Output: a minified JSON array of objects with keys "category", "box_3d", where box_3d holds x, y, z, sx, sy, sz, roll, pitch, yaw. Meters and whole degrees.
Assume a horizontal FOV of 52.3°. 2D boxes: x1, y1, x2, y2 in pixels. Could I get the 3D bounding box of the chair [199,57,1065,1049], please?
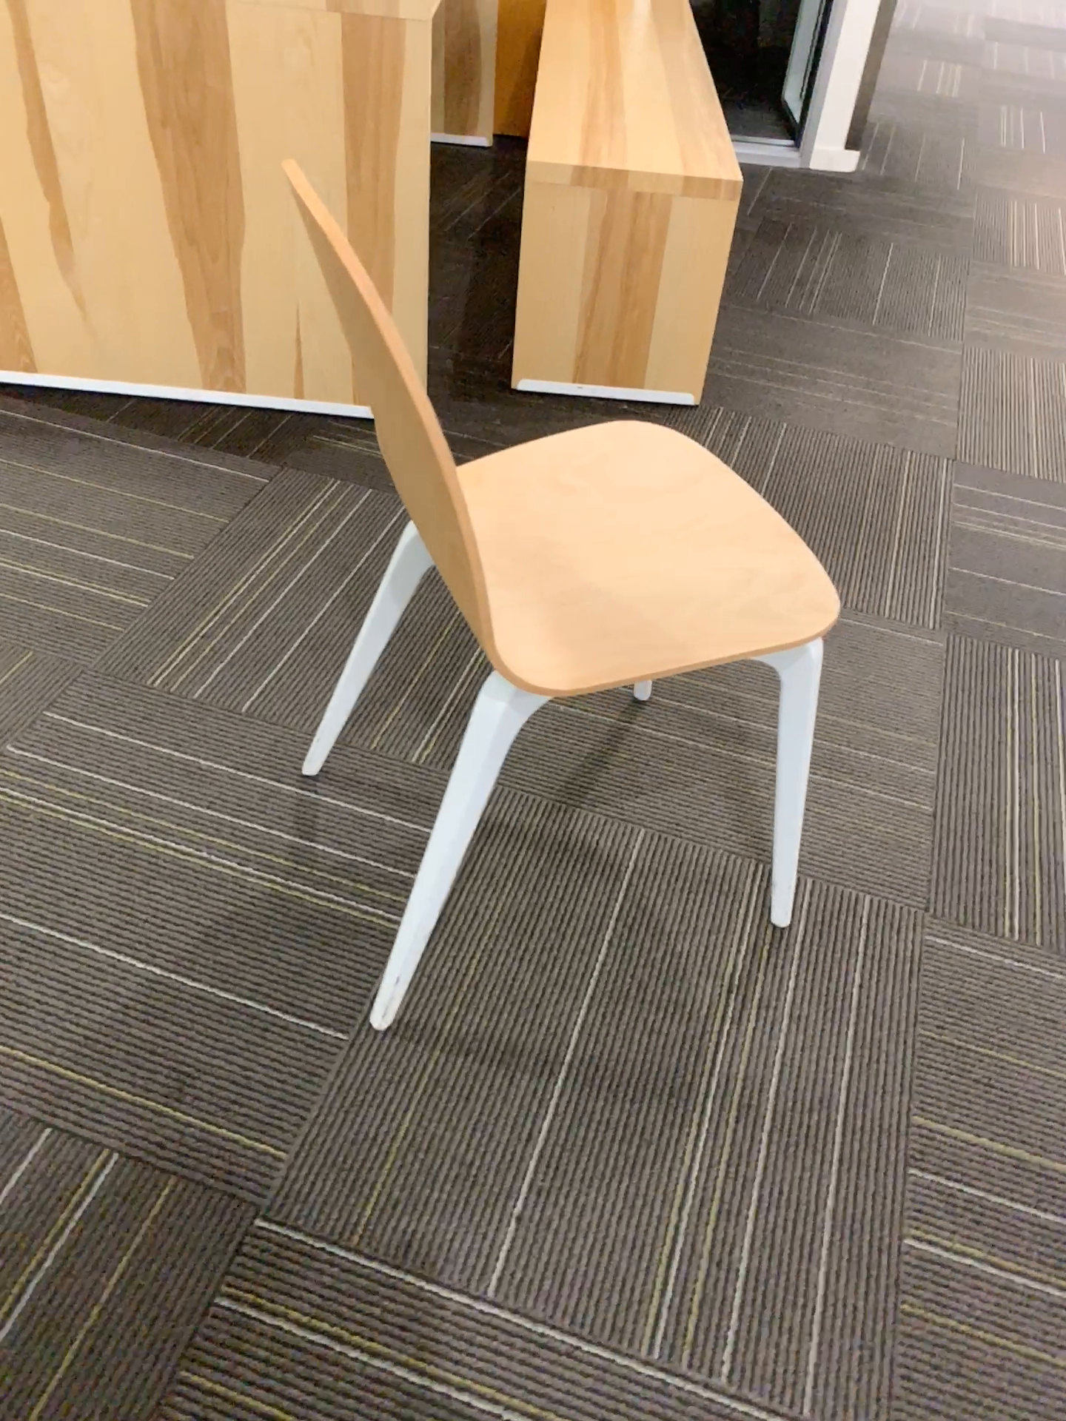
[{"category":"chair","box_3d":[0.034,-0.142,1.118,0.570,0.825,0.463,-11,46,-17]}]
